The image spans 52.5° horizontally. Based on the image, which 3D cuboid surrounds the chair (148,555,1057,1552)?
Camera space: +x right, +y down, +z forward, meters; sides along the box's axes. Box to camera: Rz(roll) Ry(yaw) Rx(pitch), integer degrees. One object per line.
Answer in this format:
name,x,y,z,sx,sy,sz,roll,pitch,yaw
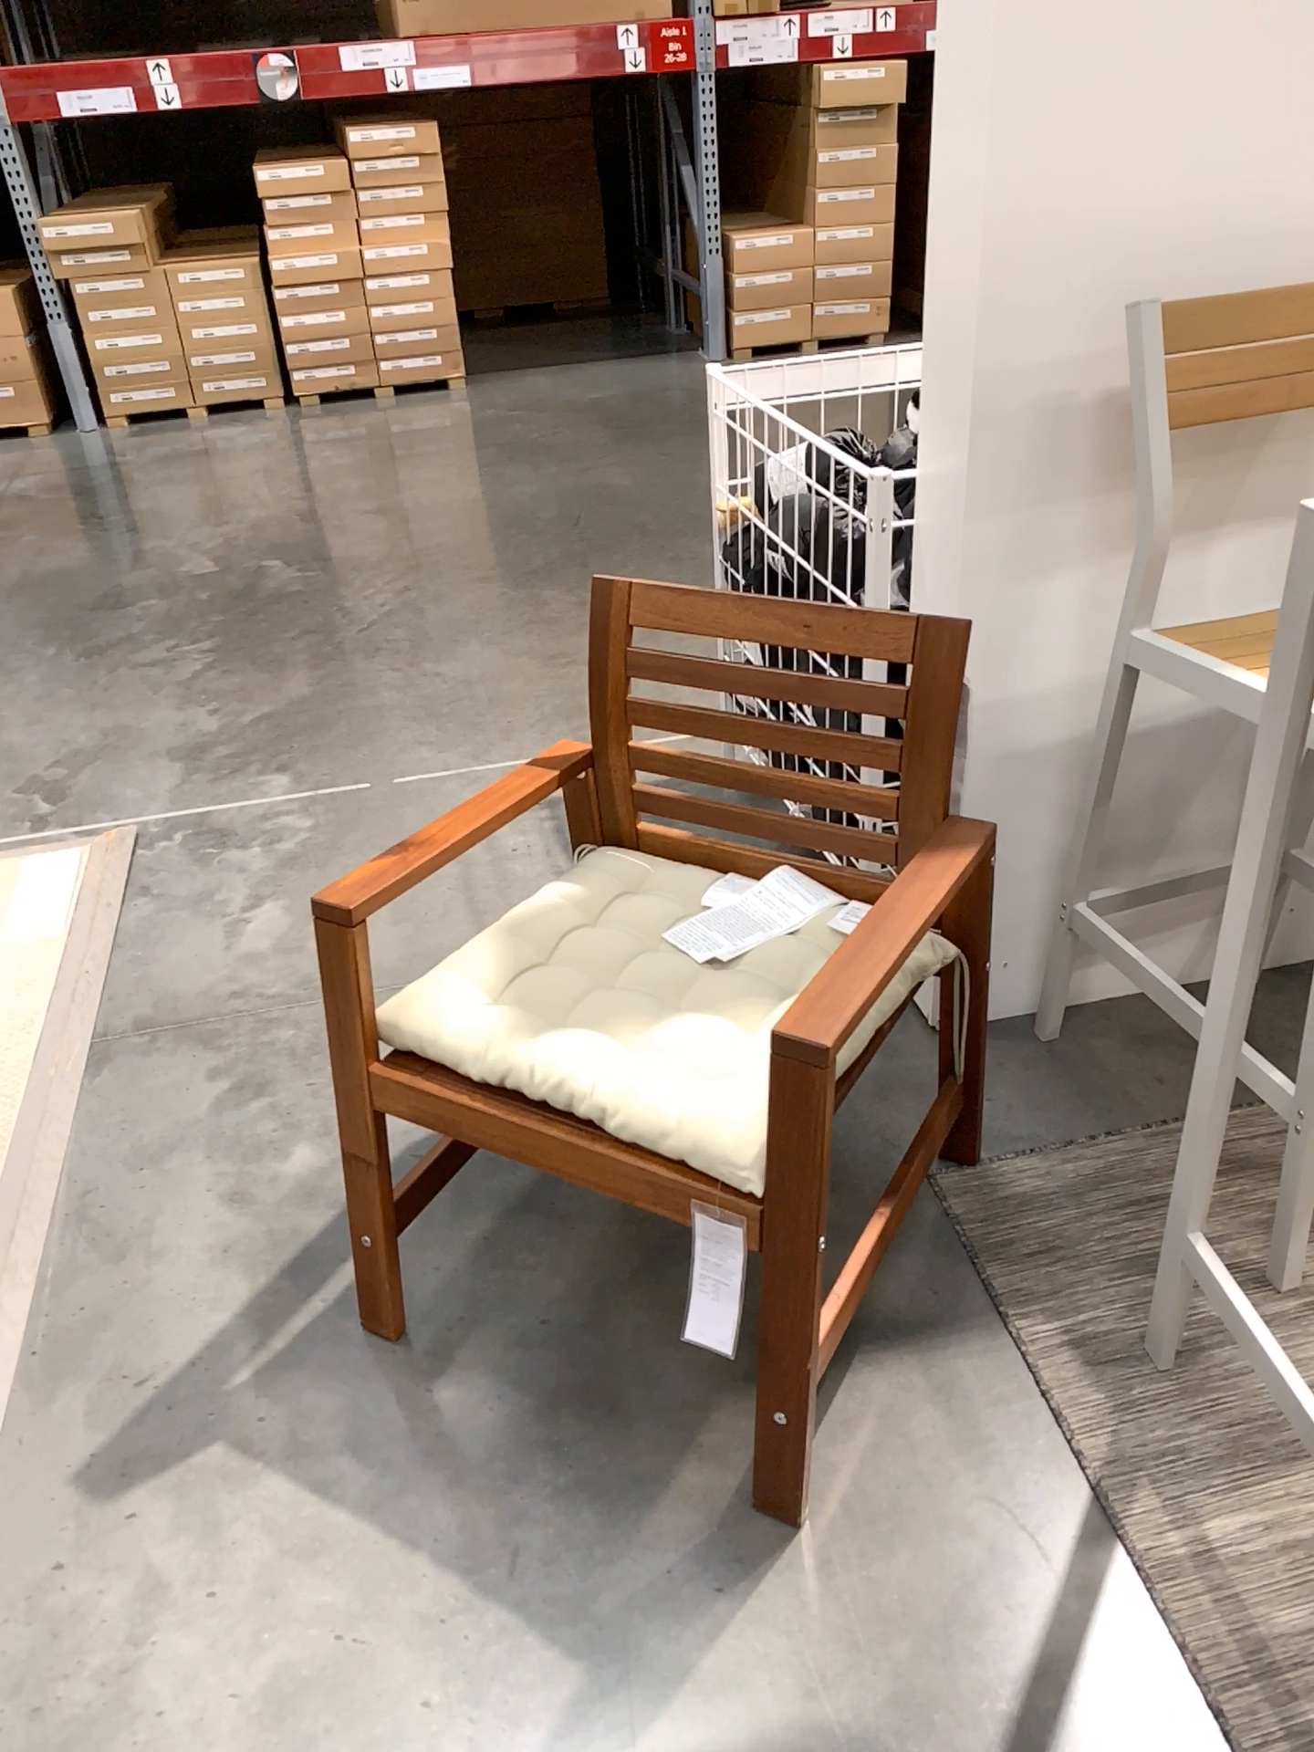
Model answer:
chair,0.011,0.122,1.532,0.651,0.706,0.723,13,36,25
